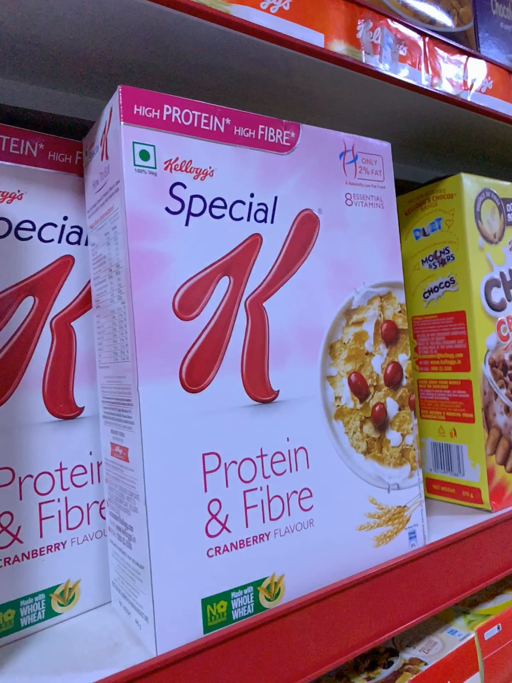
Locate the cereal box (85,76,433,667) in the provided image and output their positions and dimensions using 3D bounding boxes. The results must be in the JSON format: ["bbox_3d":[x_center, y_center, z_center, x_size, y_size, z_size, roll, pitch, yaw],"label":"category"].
[{"bbox_3d":[0.008,0.008,0.290,0.170,0.240,0.060,-3,-2,-34],"label":"cereal box"}]
